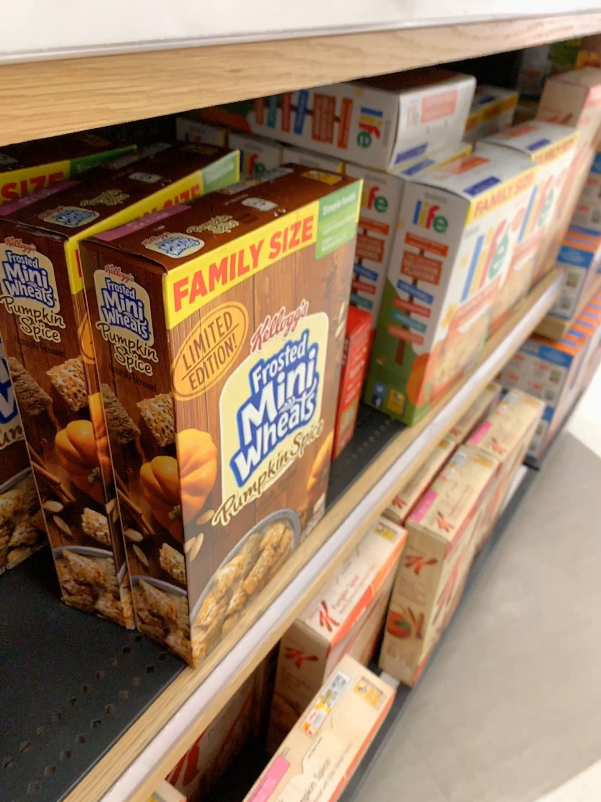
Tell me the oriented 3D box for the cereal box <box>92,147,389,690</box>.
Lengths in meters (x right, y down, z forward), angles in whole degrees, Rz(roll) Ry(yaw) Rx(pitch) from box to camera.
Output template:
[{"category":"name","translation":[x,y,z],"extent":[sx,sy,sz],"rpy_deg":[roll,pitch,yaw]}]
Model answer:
[{"category":"cereal box","translation":[-0.024,0.014,0.418],"extent":[0.050,0.308,0.201],"rpy_deg":[21,39,23]}]
